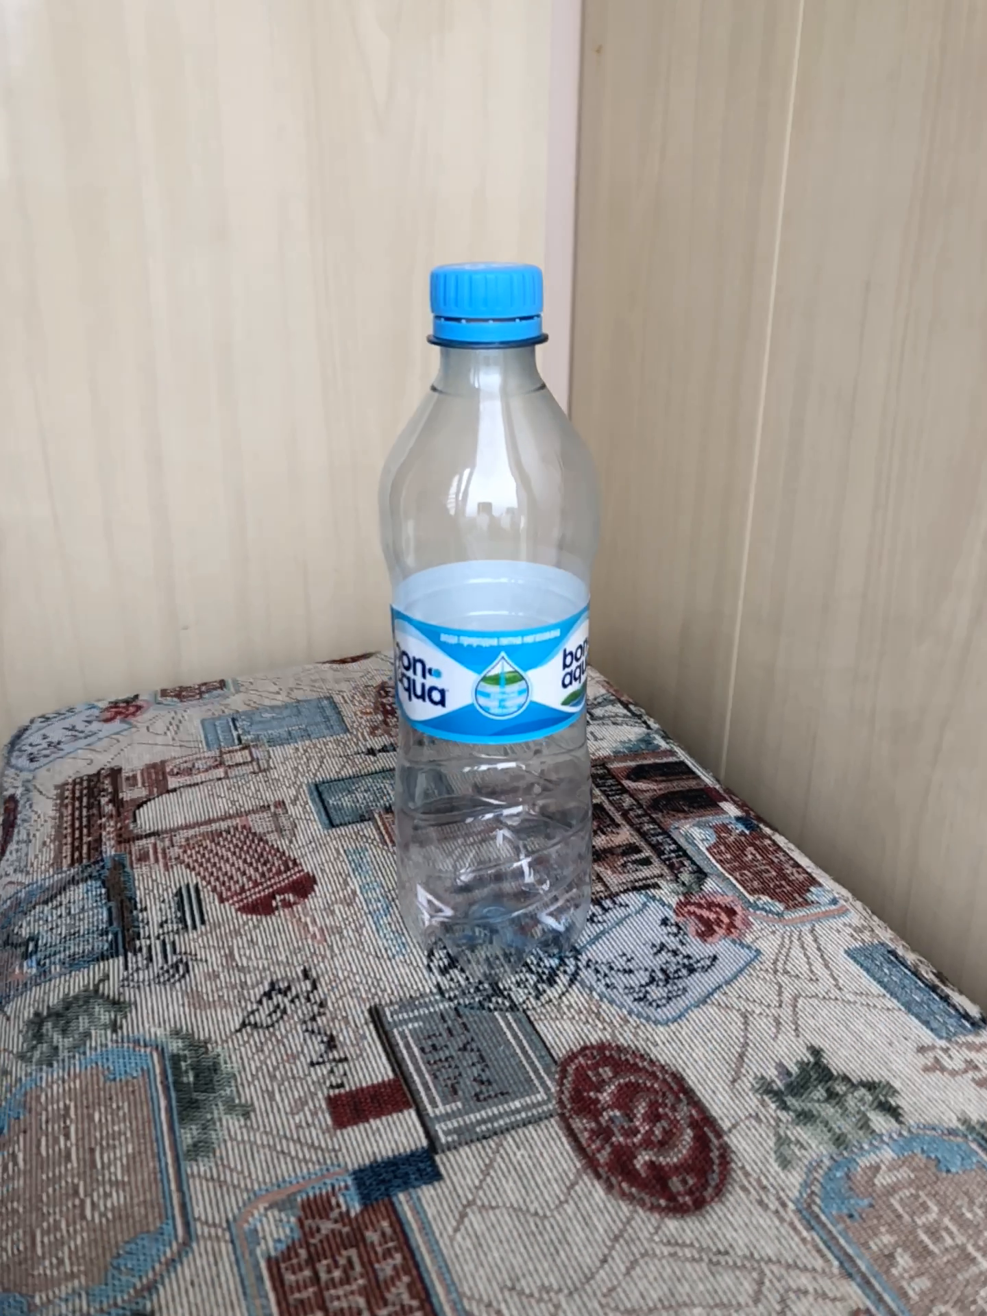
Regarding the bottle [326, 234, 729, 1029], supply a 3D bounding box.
[{"bbox_3d":[0.006,-0.012,0.319,0.070,0.209,0.080,-15,26,-33],"label":"bottle"}]
